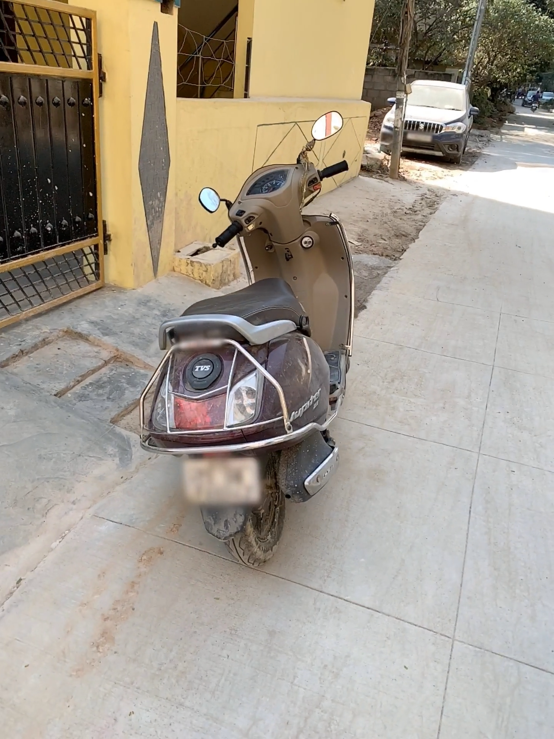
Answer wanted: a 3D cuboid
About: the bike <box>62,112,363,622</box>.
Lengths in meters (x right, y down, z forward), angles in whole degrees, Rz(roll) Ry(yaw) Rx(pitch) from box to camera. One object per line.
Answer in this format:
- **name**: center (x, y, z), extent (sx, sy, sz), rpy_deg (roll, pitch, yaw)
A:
- **bike**: center (-0.100, -0.202, 2.123), extent (0.613, 1.158, 1.532), rpy_deg (8, 30, 6)
